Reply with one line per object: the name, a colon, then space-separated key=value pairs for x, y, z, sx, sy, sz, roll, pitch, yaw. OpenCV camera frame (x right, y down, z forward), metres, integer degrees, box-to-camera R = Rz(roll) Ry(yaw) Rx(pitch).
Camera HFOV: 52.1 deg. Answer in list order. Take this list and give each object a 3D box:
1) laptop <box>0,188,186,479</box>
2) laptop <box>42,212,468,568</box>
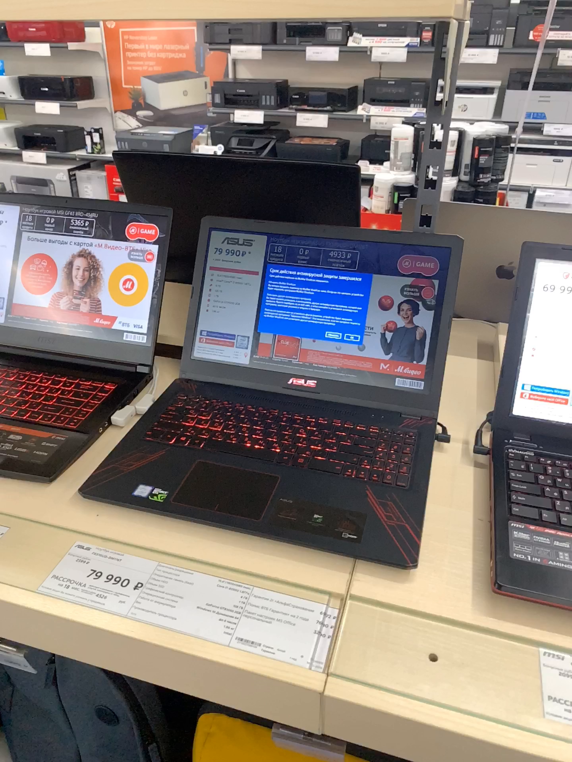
laptop: x=-0.376 y=-0.095 z=0.784 sx=0.338 sy=0.209 sz=0.354 roll=9 pitch=33 yaw=13
laptop: x=0.004 y=-0.036 z=0.696 sx=0.365 sy=0.199 sz=0.384 roll=8 pitch=33 yaw=15
